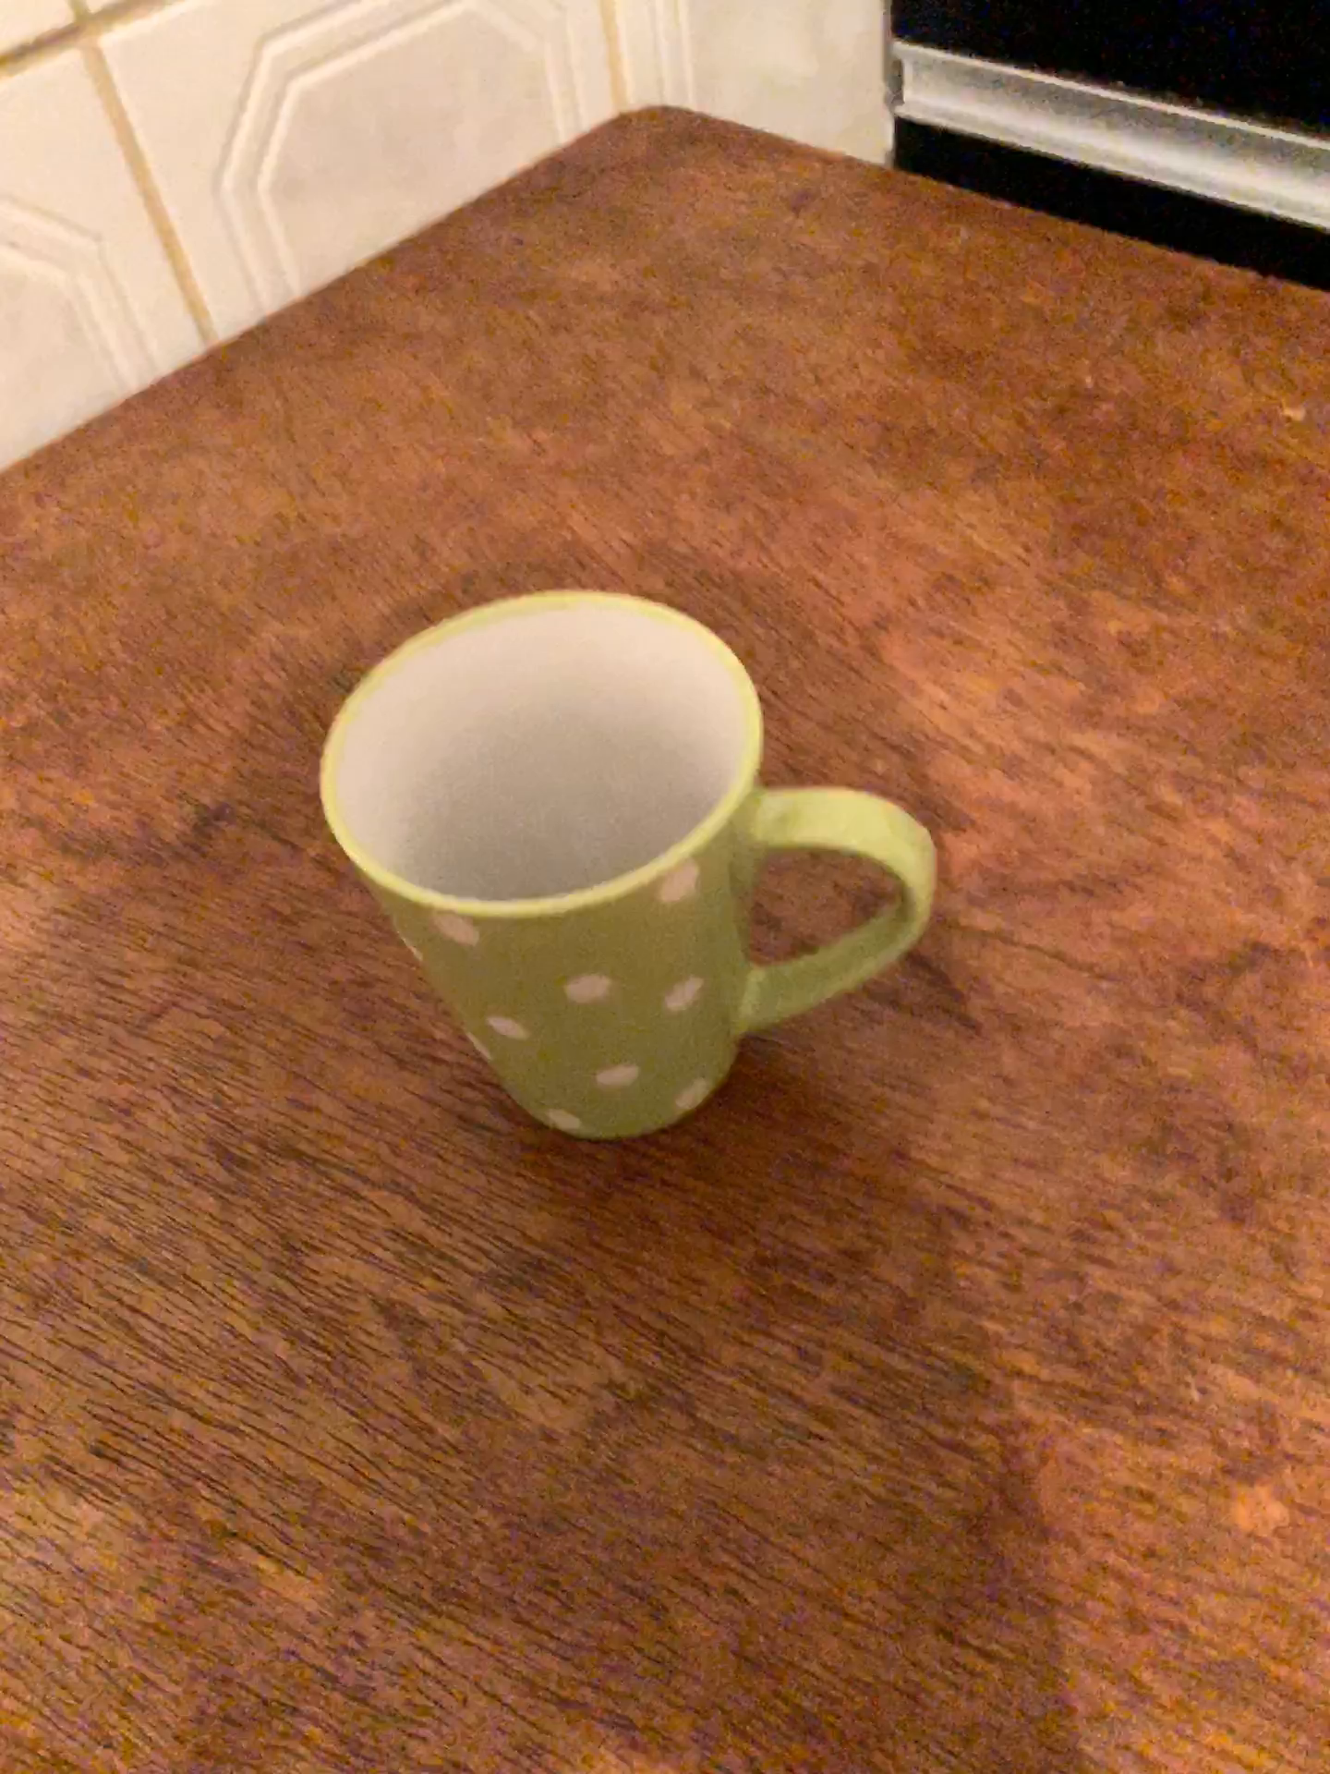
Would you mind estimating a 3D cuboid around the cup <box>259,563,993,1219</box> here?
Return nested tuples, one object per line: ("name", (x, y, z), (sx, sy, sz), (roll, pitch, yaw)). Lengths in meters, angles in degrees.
("cup", (0.002, 0.003, 0.287), (0.120, 0.100, 0.090), (0, 51, 9))
